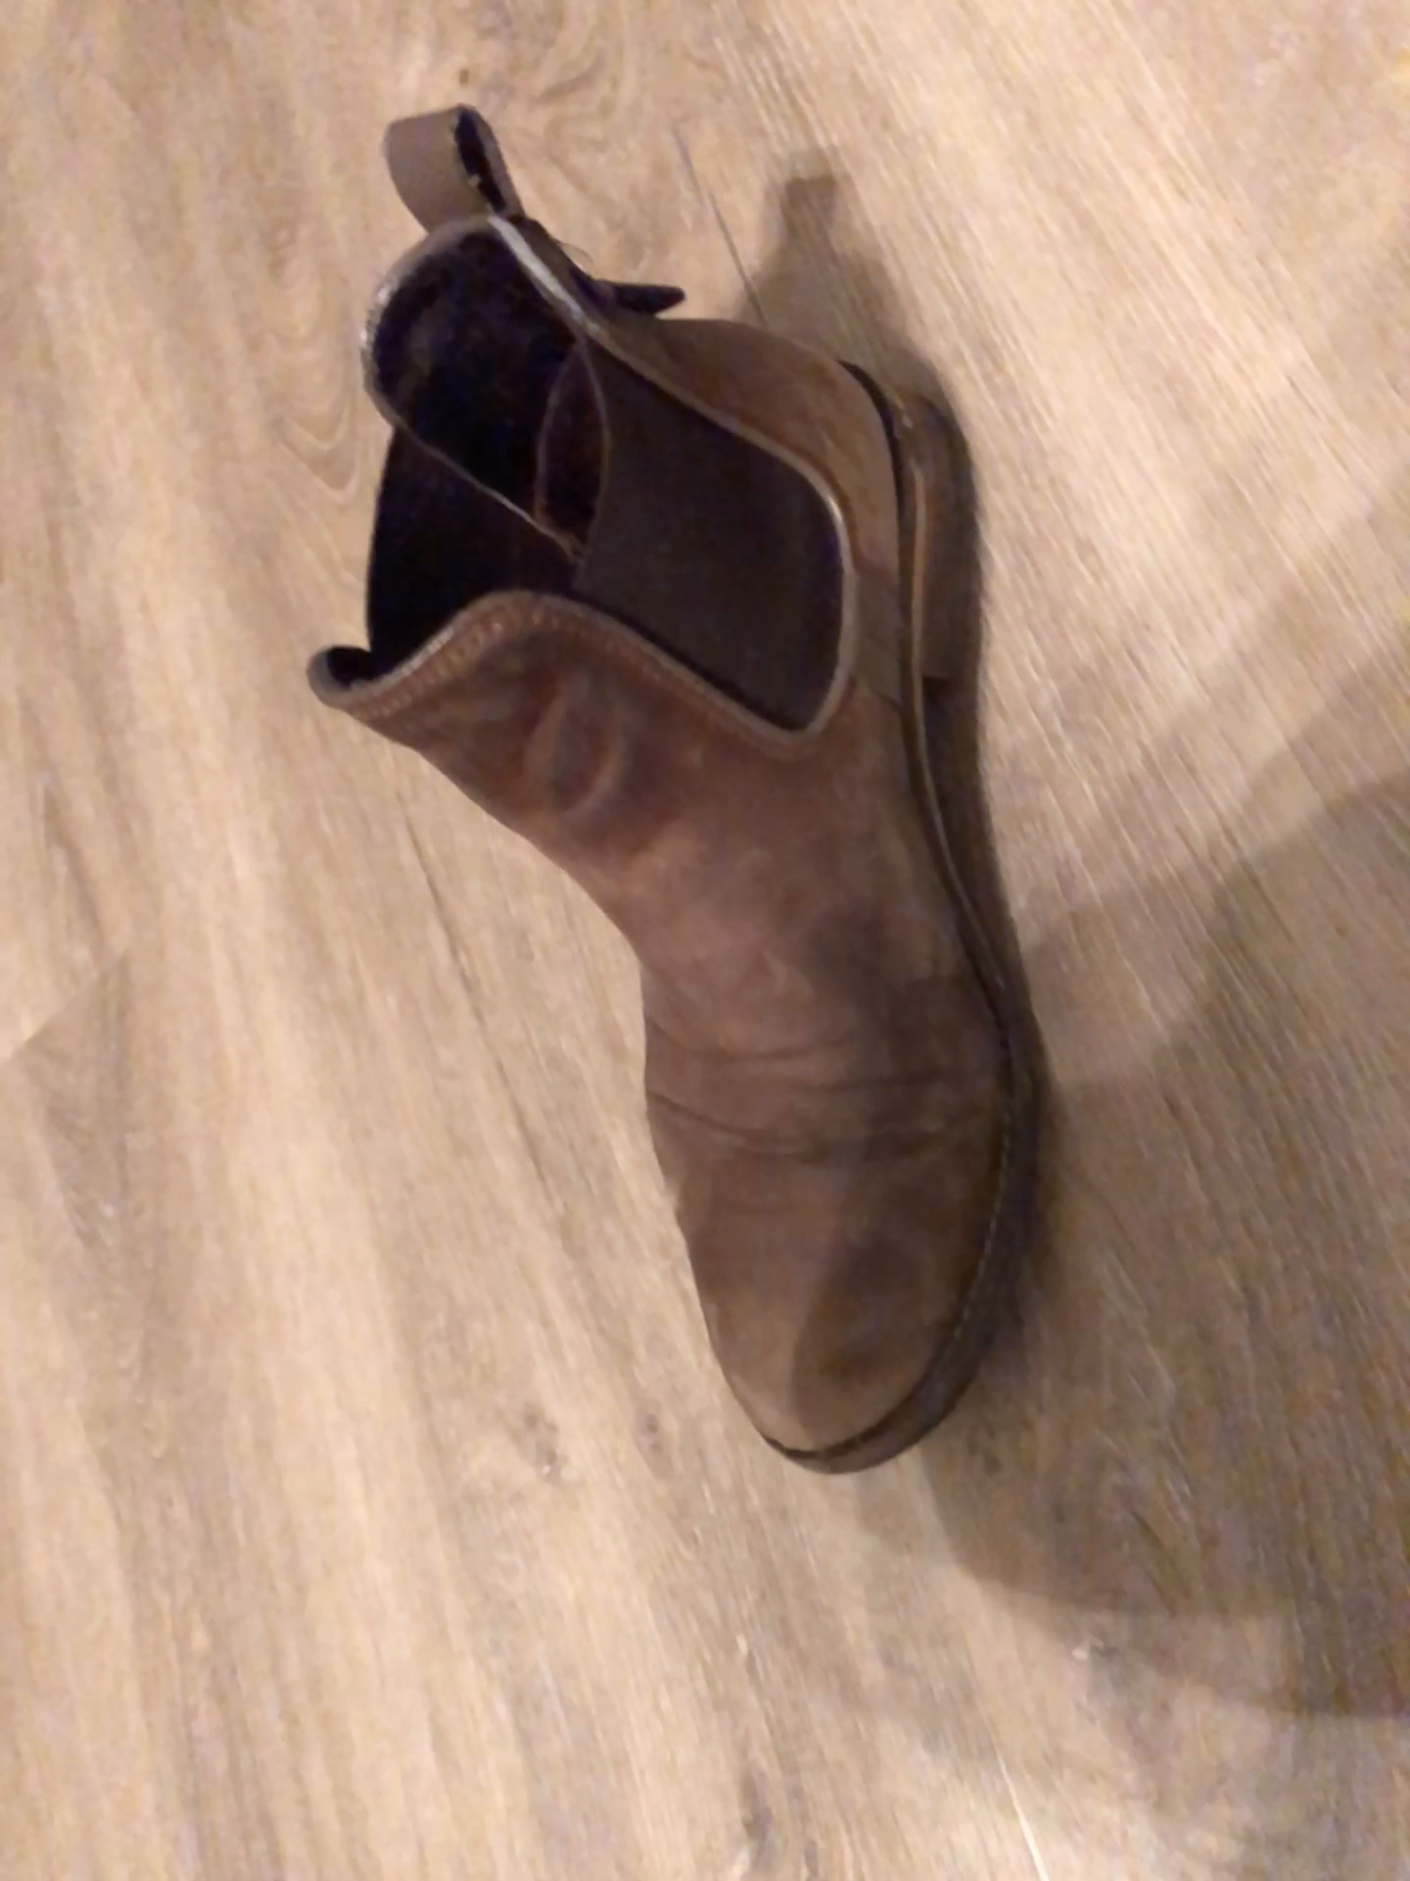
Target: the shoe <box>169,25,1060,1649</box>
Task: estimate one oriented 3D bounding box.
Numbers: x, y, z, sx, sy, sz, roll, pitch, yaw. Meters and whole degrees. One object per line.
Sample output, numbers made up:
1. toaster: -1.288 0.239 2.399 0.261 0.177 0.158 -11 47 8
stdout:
1. shoe: -0.016 -0.012 0.313 0.100 0.139 0.240 -9 80 39
